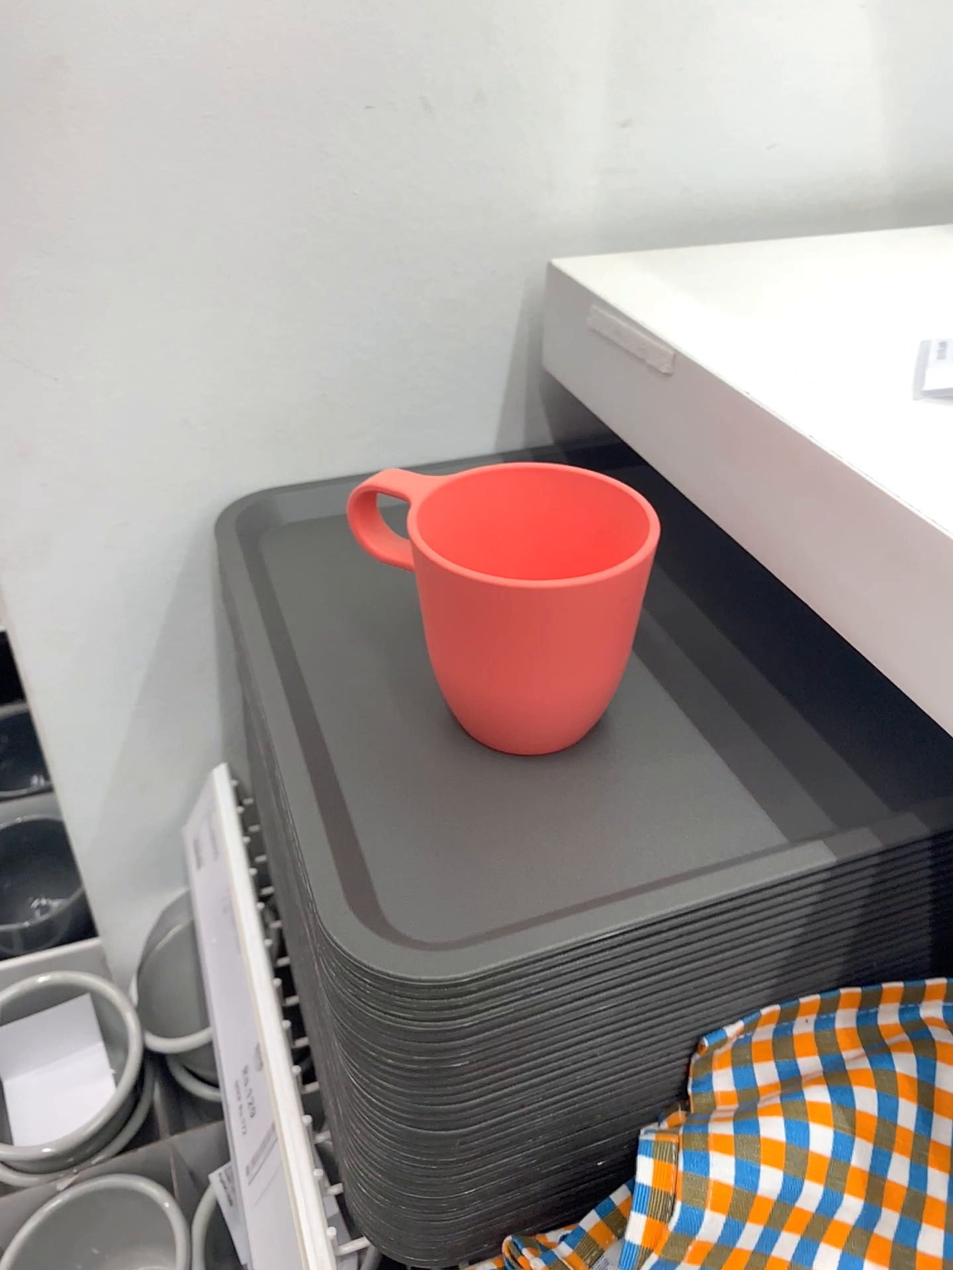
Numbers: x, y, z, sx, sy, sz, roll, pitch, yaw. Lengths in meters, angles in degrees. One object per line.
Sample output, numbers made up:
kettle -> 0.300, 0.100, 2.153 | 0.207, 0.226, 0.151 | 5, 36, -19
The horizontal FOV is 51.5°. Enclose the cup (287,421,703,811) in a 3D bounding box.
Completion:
cup -> 0.006, -0.011, 0.330 | 0.110, 0.080, 0.070 | 17, 38, 21
